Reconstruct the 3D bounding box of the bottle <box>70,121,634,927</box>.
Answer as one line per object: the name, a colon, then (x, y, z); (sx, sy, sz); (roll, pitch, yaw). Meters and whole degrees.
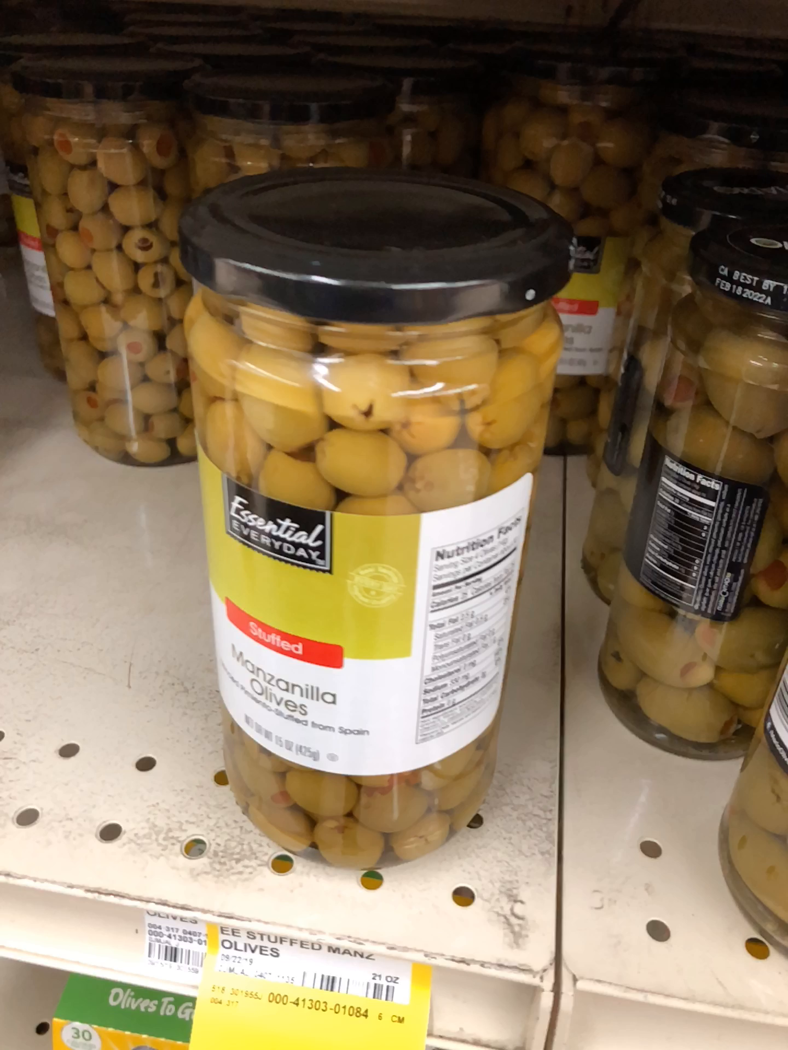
bottle: (-0.008, 0.002, 0.211); (0.080, 0.163, 0.070); (20, 38, 23)
